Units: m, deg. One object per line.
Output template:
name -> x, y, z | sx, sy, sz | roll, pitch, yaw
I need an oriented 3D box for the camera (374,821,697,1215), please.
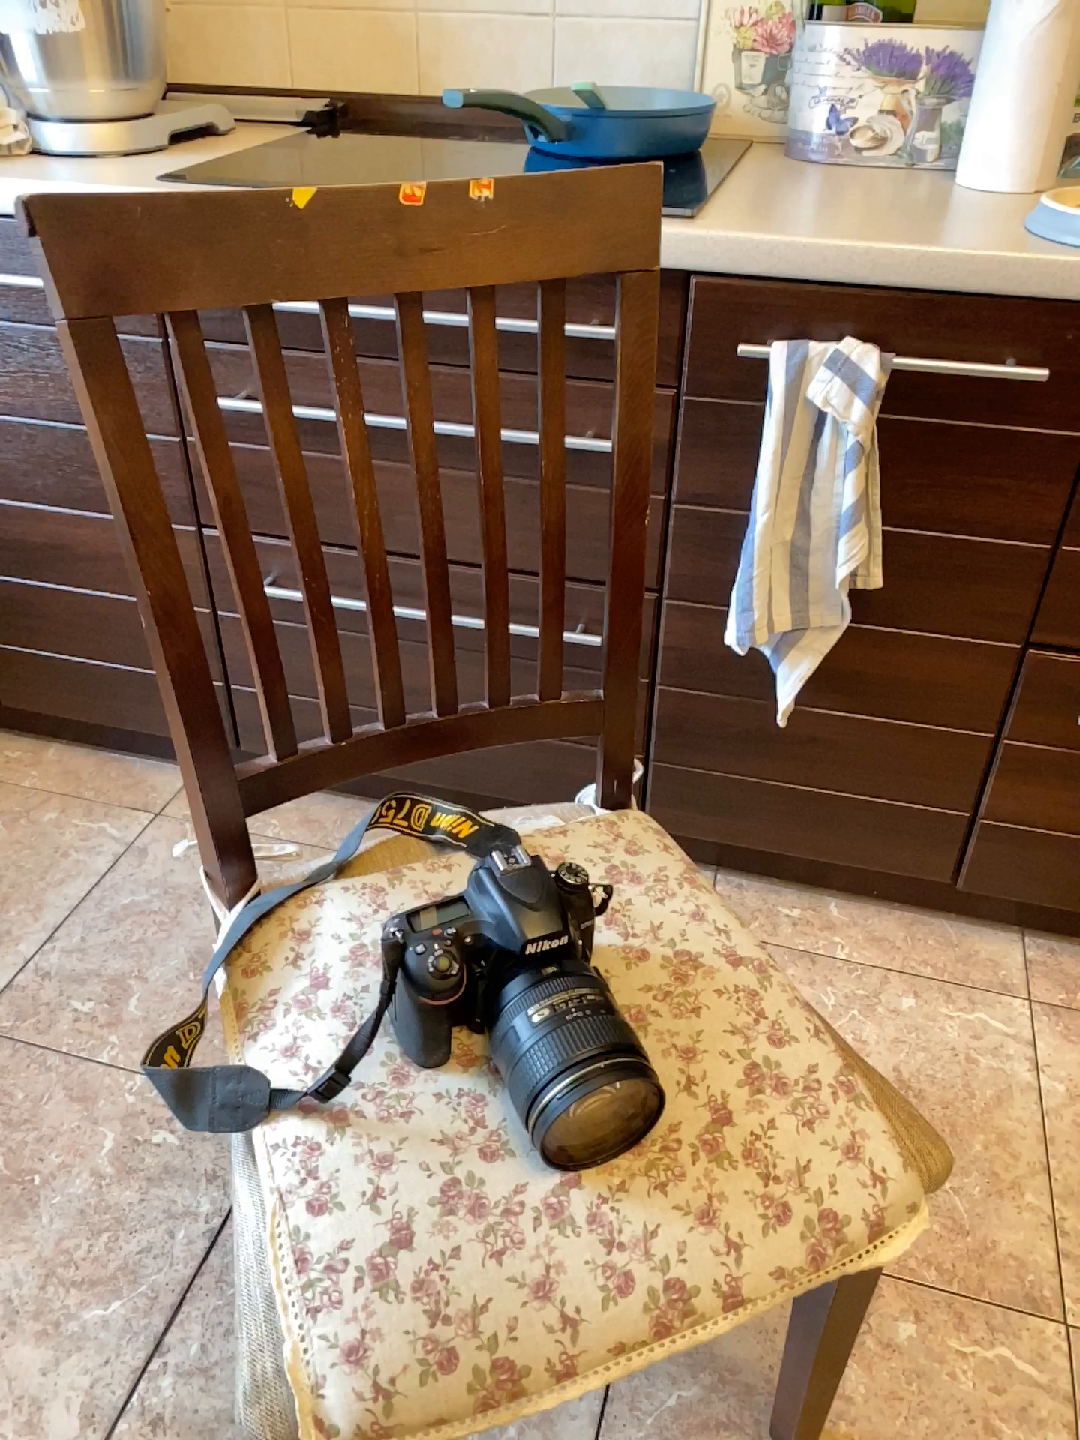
camera -> -0.010, 0.174, 0.672 | 0.135, 0.119, 0.165 | -13, 36, -20
